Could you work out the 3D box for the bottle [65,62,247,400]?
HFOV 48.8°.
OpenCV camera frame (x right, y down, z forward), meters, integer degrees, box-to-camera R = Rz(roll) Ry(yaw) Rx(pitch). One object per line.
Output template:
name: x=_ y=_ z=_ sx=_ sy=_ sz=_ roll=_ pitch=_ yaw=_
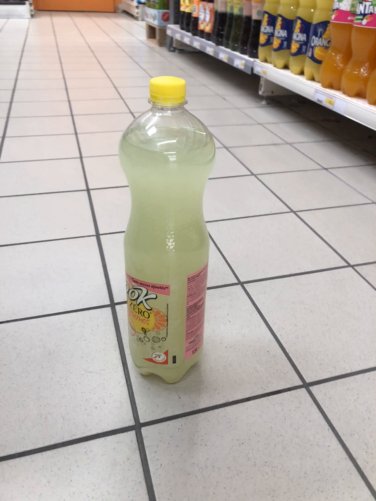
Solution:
bottle: x=-0.033 y=-0.013 z=0.409 sx=0.100 sy=0.298 sz=0.110 roll=2 pitch=32 yaw=-1
